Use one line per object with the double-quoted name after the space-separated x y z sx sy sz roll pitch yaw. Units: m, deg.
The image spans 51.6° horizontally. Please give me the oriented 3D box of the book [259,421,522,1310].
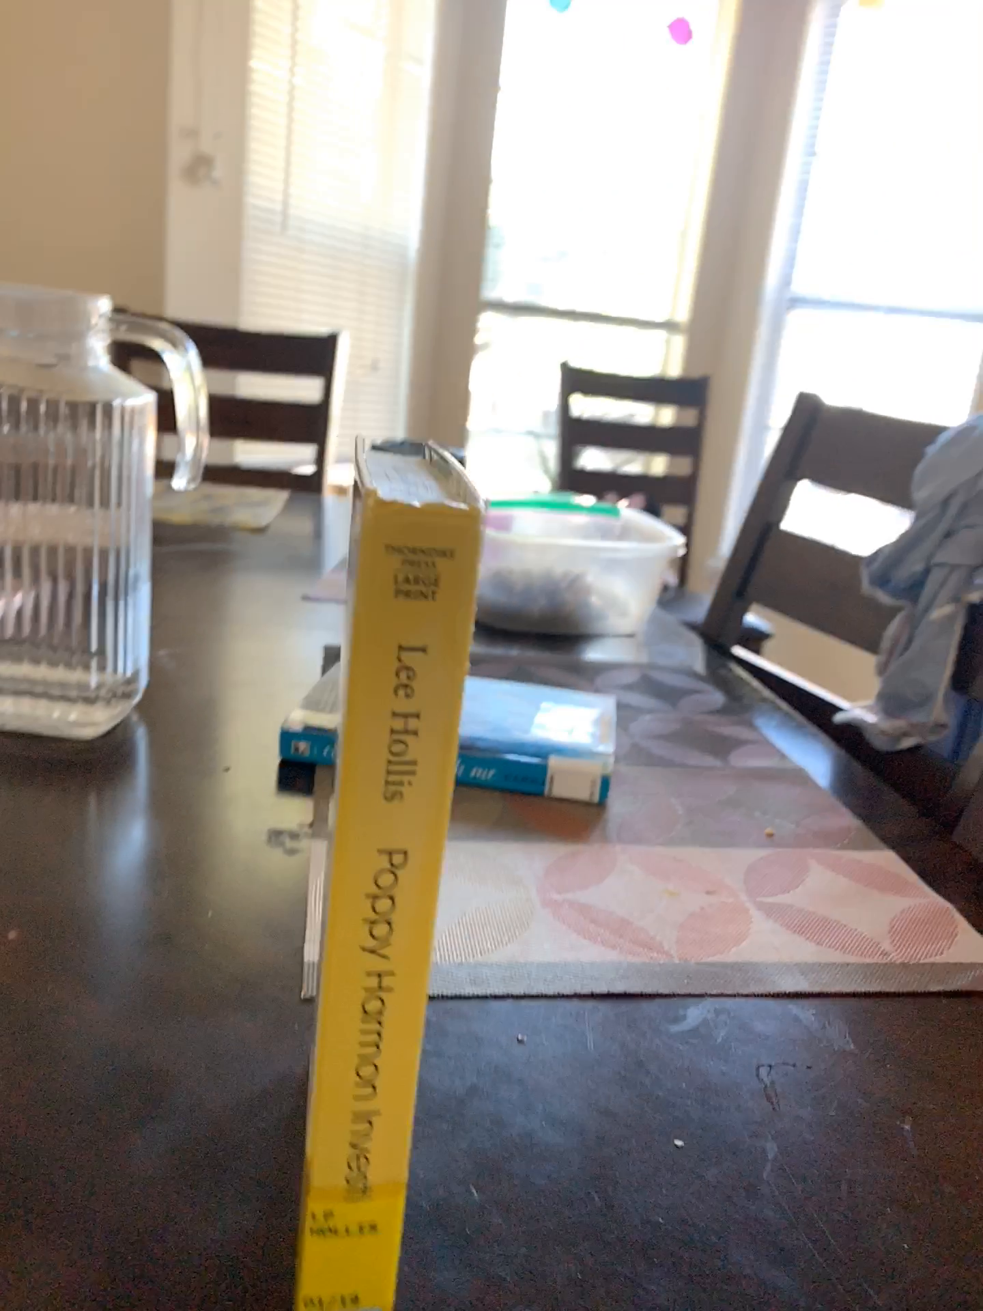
-0.035 0.054 0.286 0.040 0.220 0.154 3 16 -9 "book"
